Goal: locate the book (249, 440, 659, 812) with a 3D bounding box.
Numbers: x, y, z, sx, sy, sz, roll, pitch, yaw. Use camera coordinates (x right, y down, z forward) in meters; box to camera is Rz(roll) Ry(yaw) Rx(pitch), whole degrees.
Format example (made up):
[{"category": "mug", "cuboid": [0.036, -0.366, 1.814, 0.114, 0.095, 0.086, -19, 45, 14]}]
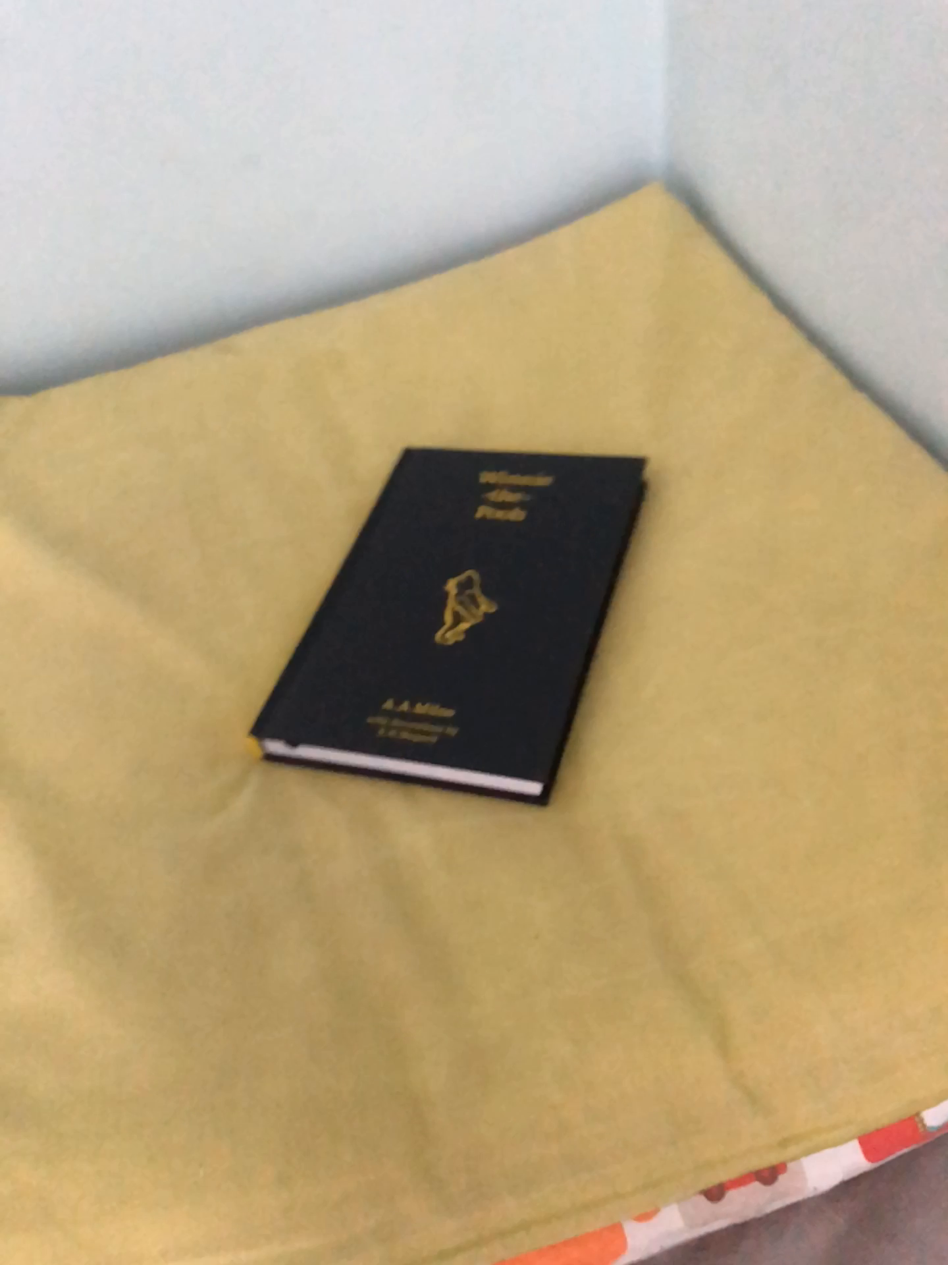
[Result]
[{"category": "book", "cuboid": [-0.001, -0.018, 0.544, 0.150, 0.020, 0.221, 6, 50, 19]}]
